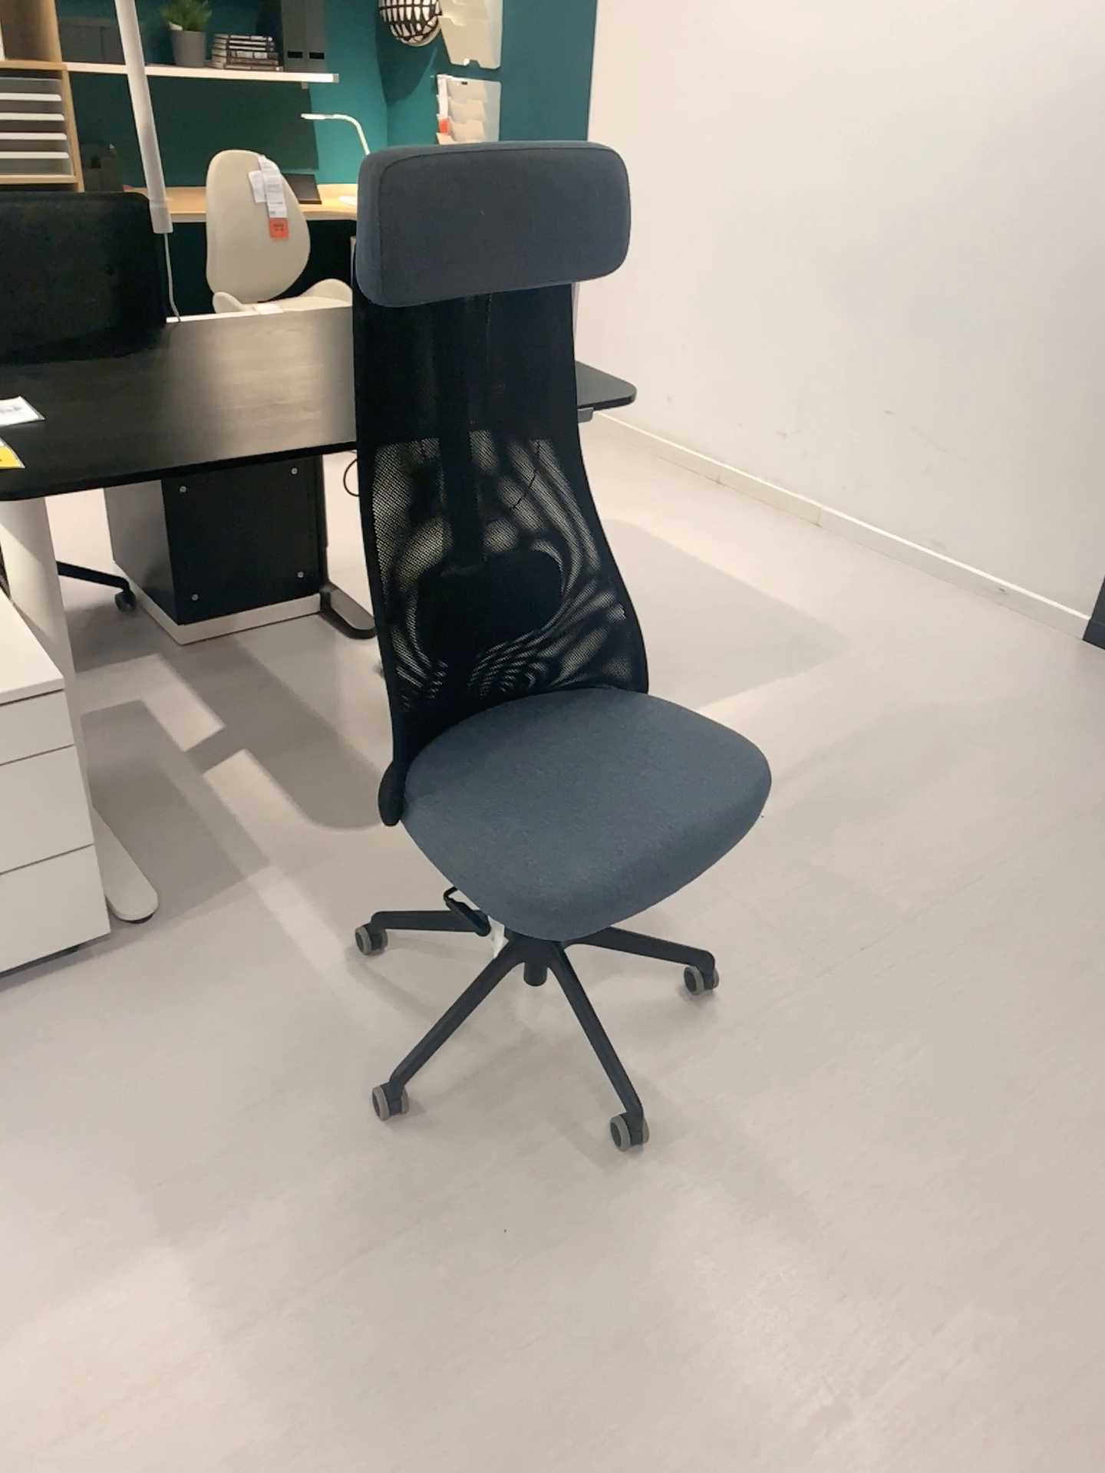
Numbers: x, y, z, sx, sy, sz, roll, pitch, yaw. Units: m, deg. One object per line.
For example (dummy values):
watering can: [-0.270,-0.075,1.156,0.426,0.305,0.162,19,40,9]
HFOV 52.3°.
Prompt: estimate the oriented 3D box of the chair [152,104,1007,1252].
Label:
chair: [-0.026,-0.115,1.603,0.641,1.304,0.732,-22,40,-37]
